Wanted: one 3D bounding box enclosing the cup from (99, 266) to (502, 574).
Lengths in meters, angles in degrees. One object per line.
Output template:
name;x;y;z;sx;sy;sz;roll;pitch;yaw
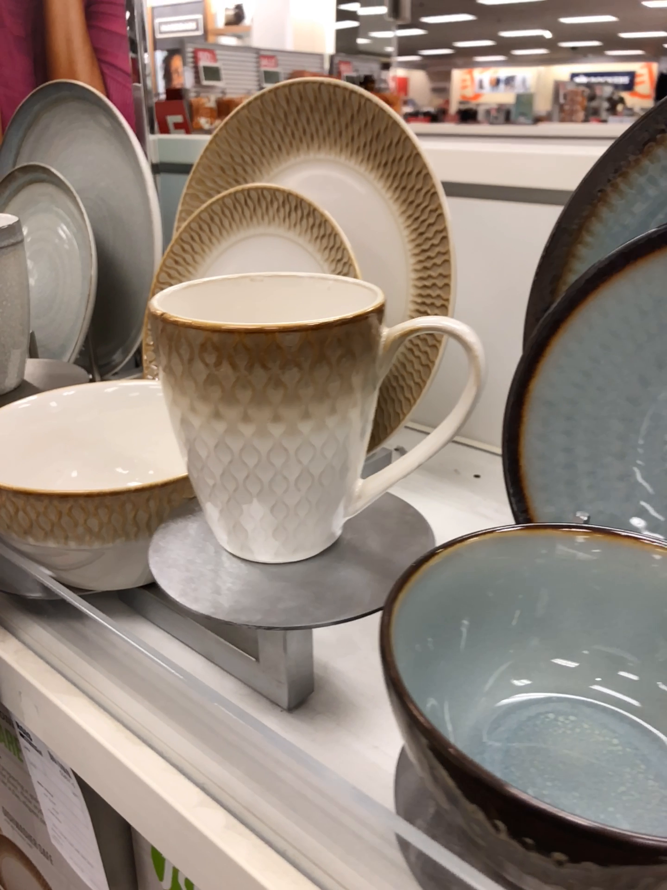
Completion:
cup;-0.009;-0.016;0.299;0.128;0.089;0.100;2;24;3
